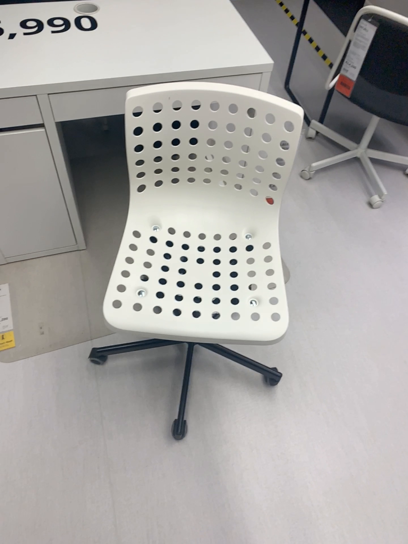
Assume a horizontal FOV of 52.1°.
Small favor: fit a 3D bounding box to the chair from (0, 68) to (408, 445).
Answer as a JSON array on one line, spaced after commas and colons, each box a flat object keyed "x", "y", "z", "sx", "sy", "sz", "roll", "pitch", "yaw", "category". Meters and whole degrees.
[{"x": -0.028, "y": 0.022, "z": 1.155, "sx": 0.680, "sy": 0.788, "sz": 0.672, "roll": 3, "pitch": 55, "yaw": -3, "category": "chair"}]
